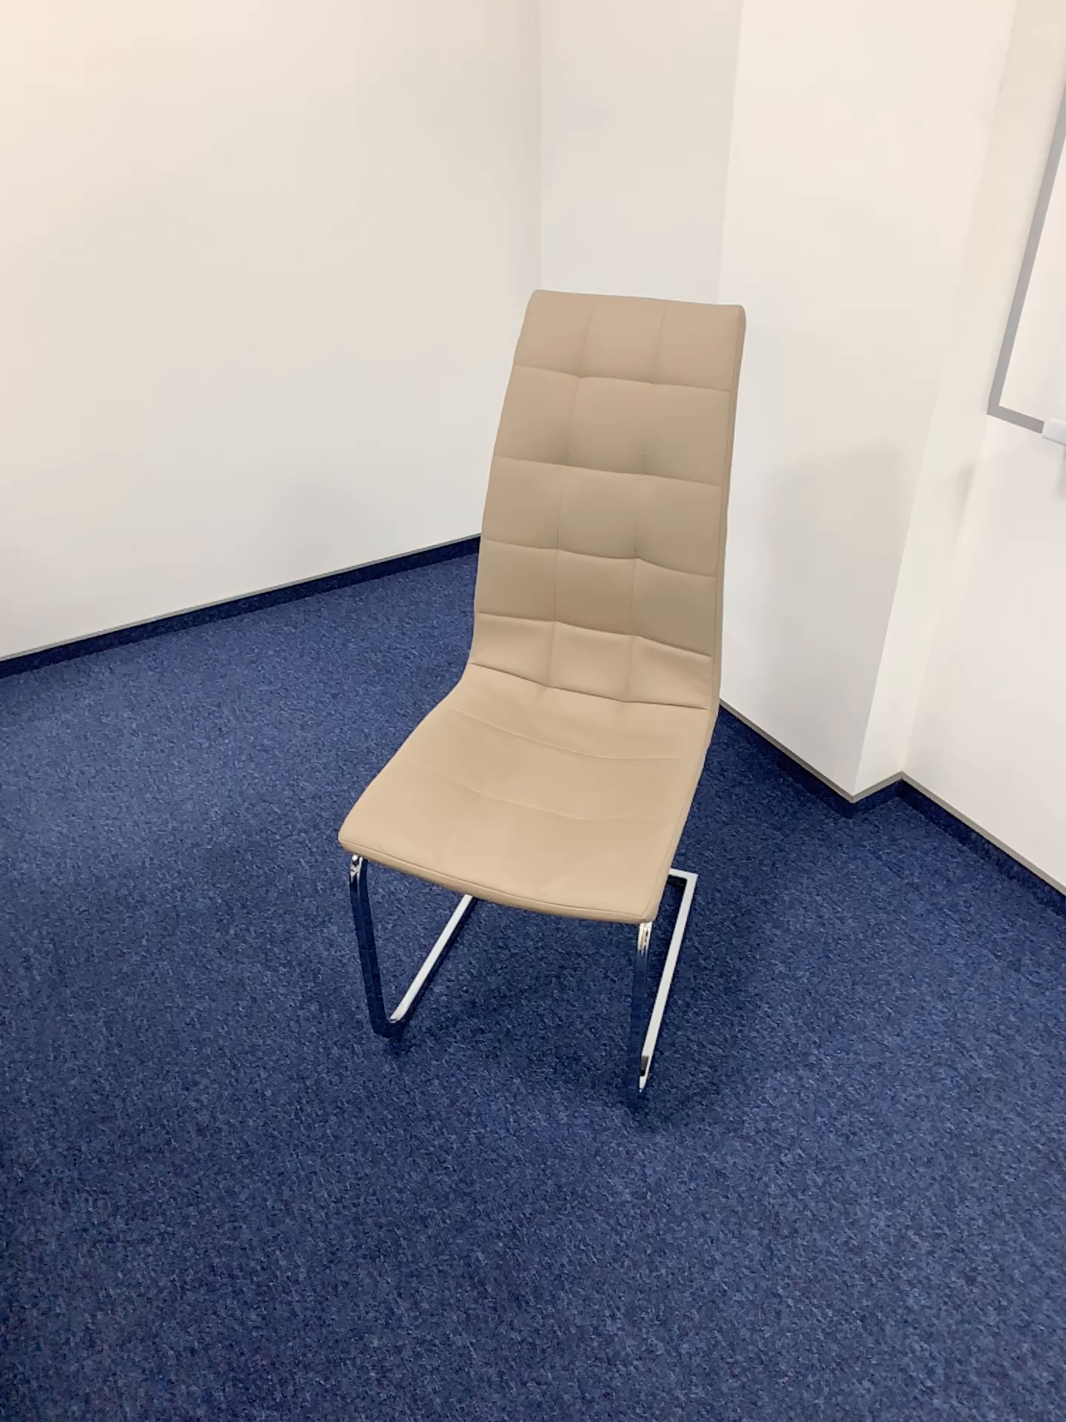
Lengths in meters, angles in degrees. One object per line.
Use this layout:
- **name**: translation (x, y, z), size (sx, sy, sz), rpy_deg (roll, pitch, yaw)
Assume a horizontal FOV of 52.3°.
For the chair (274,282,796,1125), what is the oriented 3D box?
- **chair**: translation (0.041, -0.006, 1.520), size (0.440, 0.984, 0.533), rpy_deg (11, 36, 17)
